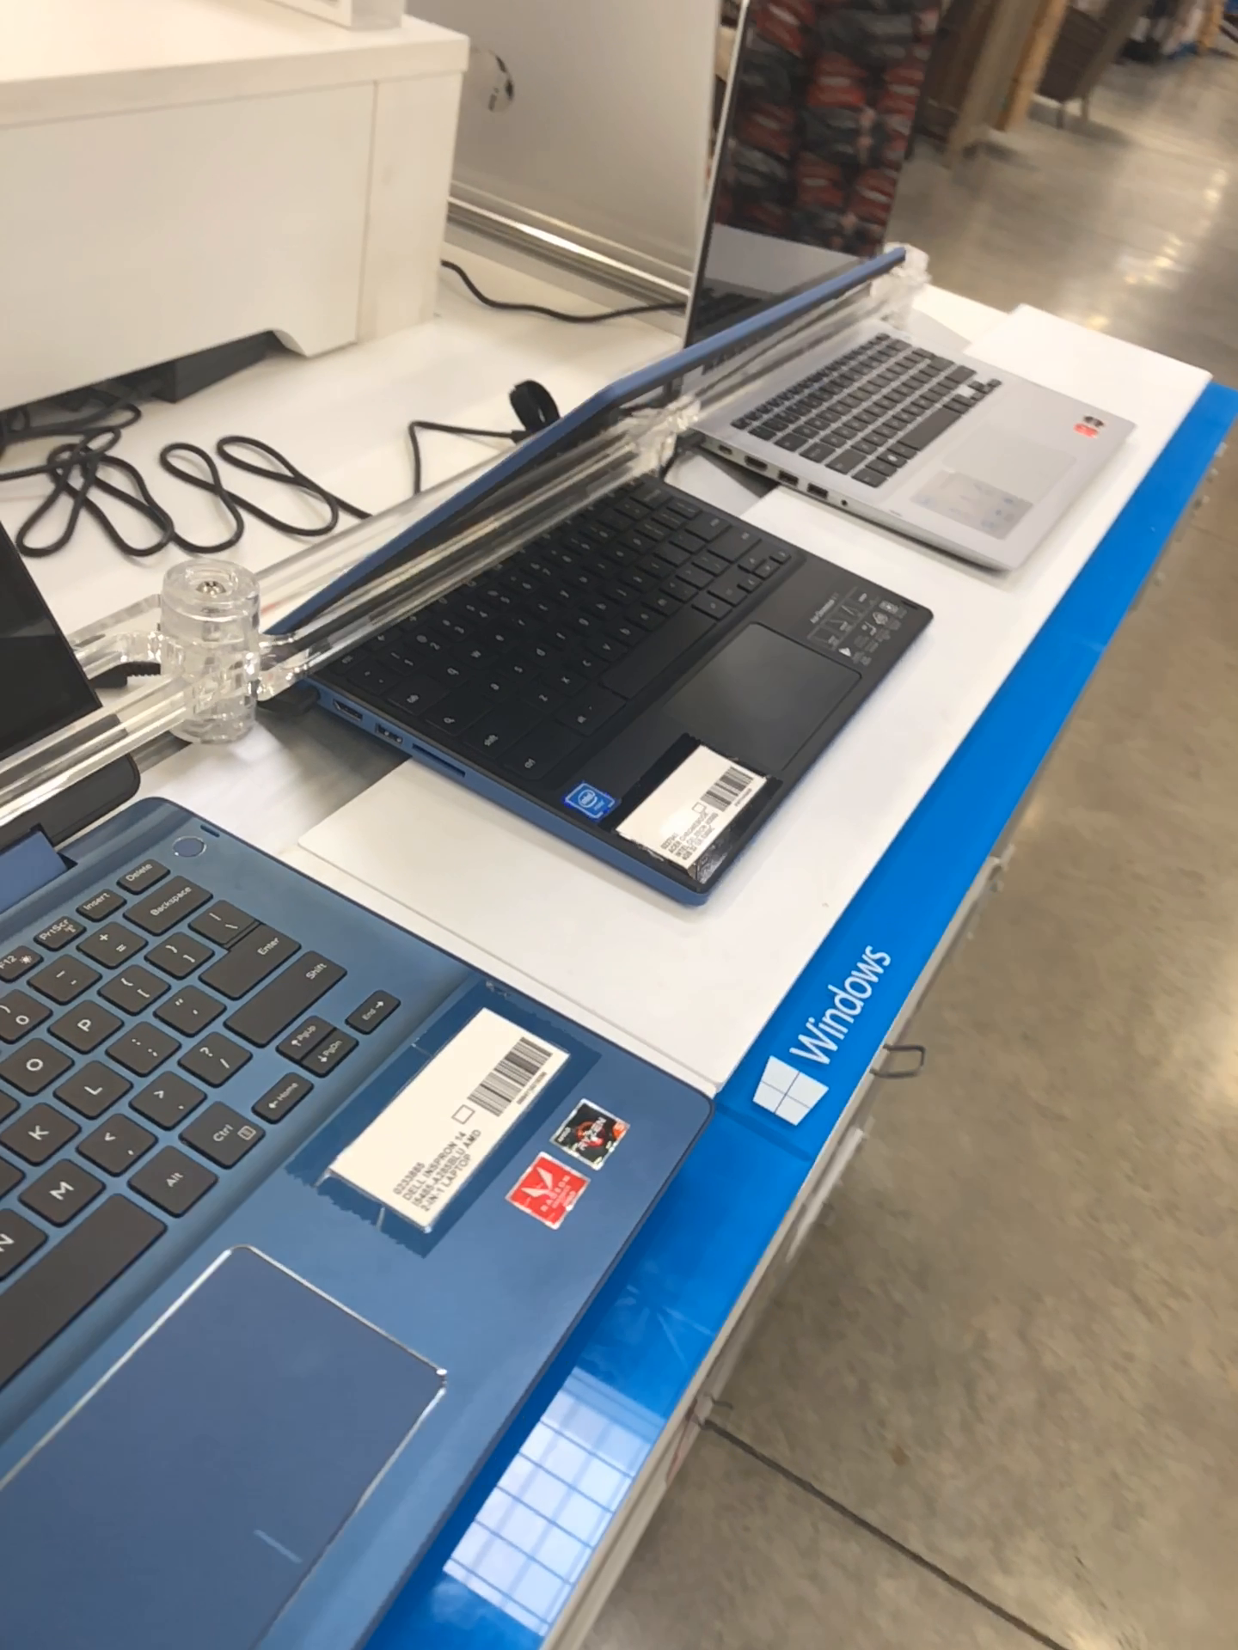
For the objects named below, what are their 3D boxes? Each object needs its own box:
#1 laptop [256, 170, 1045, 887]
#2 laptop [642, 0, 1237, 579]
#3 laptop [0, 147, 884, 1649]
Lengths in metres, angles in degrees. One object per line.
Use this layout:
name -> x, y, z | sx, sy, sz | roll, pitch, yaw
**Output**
laptop -> 0.025, -0.150, 0.586 | 0.194, 0.159, 0.295 | 28, 39, 14
laptop -> 0.219, -0.379, 0.874 | 0.255, 0.218, 0.342 | 30, 42, 14
laptop -> -0.183, 0.016, 0.294 | 0.367, 0.169, 0.306 | 26, 39, 14
